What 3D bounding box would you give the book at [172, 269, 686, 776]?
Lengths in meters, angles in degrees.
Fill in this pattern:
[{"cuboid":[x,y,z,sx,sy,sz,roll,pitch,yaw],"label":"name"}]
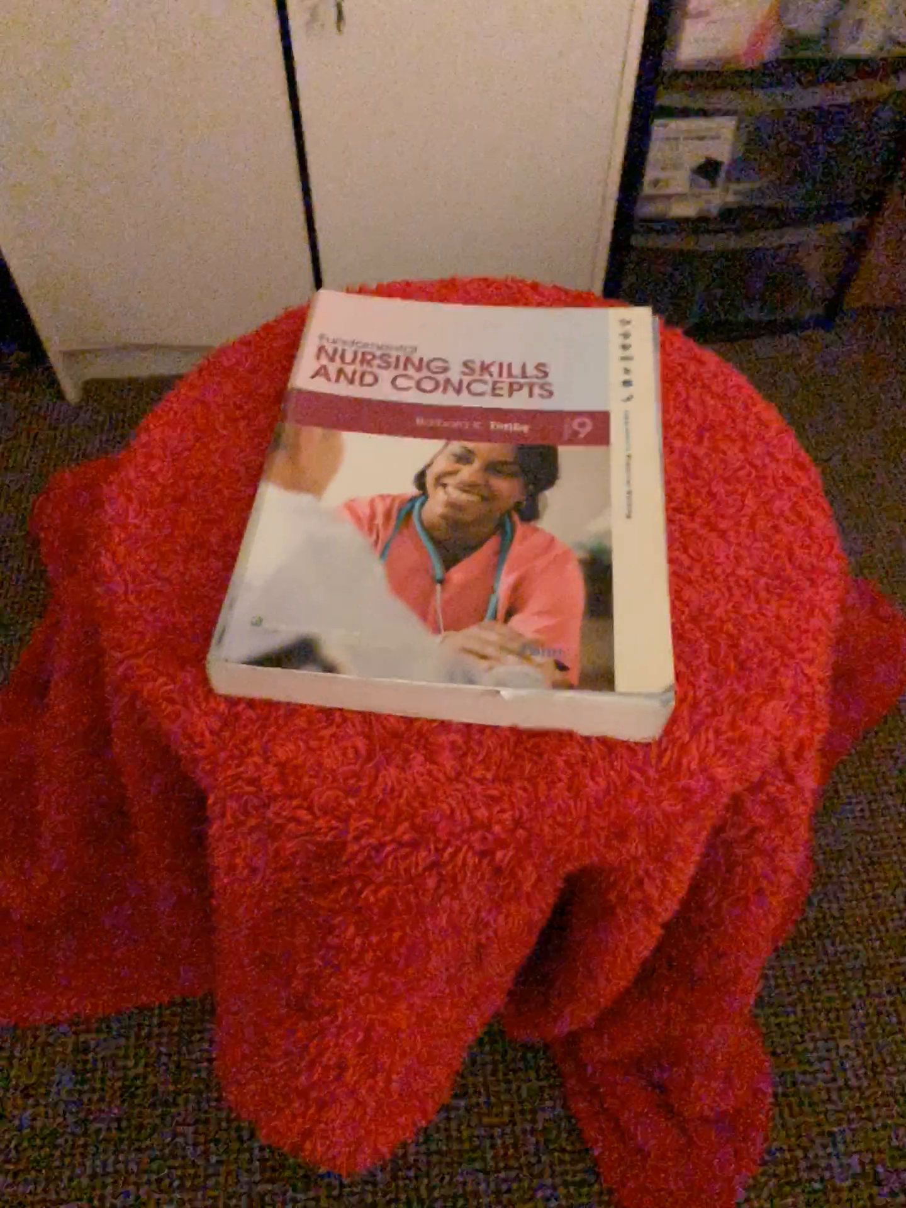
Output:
[{"cuboid":[0.002,-0.065,0.531,0.230,0.069,0.302,5,54,3],"label":"book"}]
